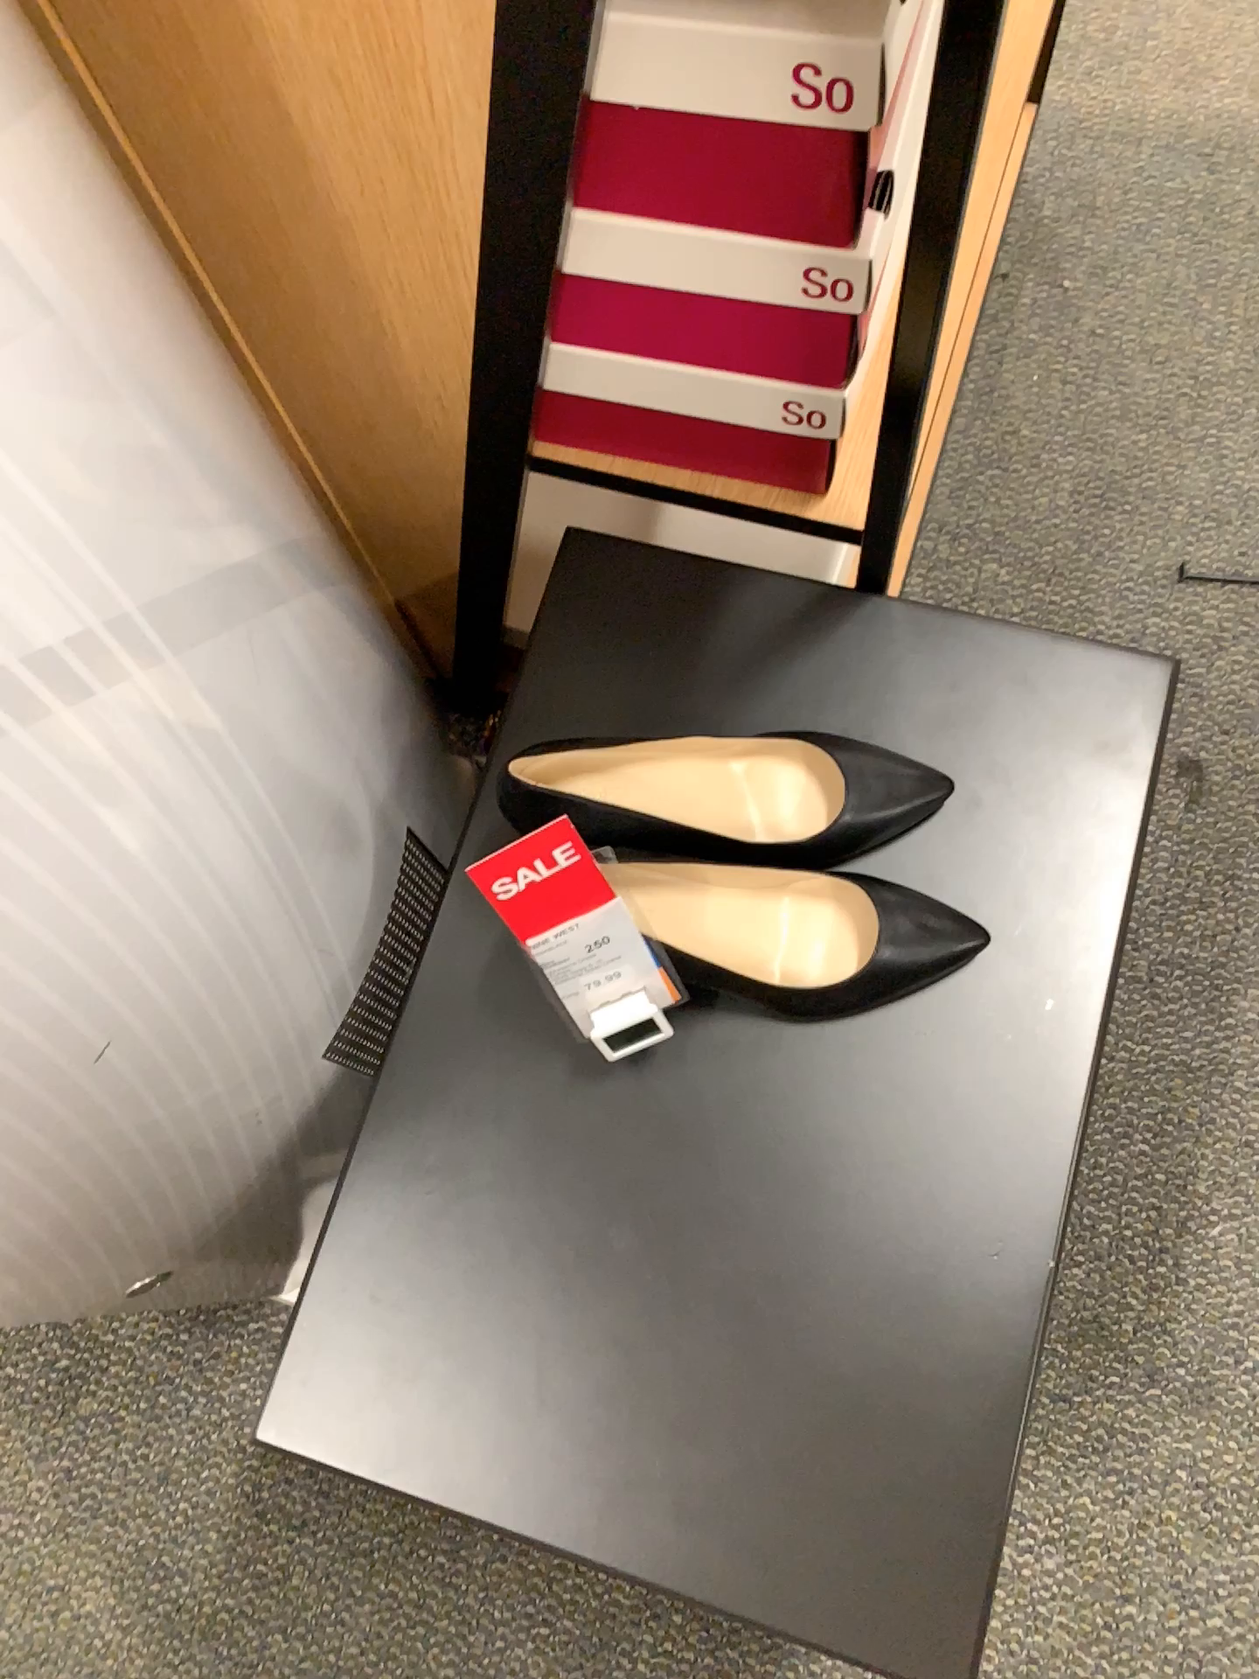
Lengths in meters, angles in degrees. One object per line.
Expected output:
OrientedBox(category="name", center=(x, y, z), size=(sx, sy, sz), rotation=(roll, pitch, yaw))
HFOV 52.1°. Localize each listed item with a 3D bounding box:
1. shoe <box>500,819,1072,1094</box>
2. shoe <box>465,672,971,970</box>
OrientedBox(category="shoe", center=(0.077, 0.068, 0.672), size=(0.250, 0.190, 0.100), rotation=(1, 73, 6))
OrientedBox(category="shoe", center=(0.049, -0.001, 0.745), size=(0.250, 0.190, 0.100), rotation=(-5, 73, 5))
